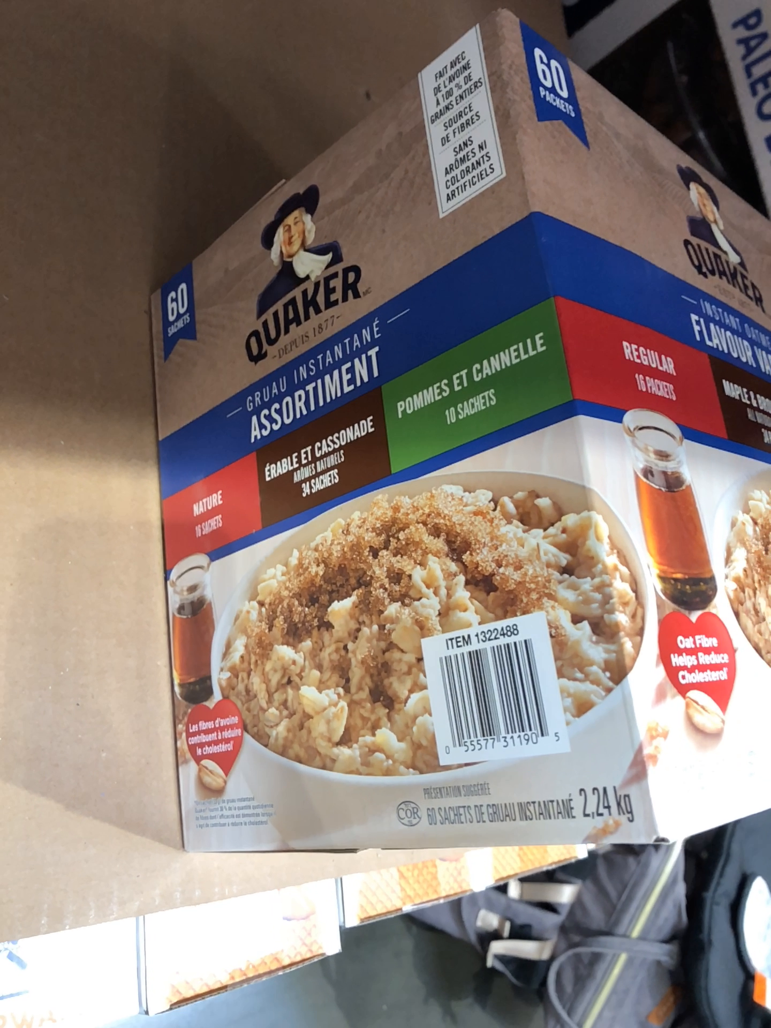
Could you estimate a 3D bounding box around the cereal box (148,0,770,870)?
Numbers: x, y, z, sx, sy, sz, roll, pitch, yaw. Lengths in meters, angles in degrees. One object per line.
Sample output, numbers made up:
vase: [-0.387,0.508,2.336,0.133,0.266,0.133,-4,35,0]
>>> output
cereal box: [0.065,-0.010,0.369,0.241,0.199,0.260,8,68,-44]
